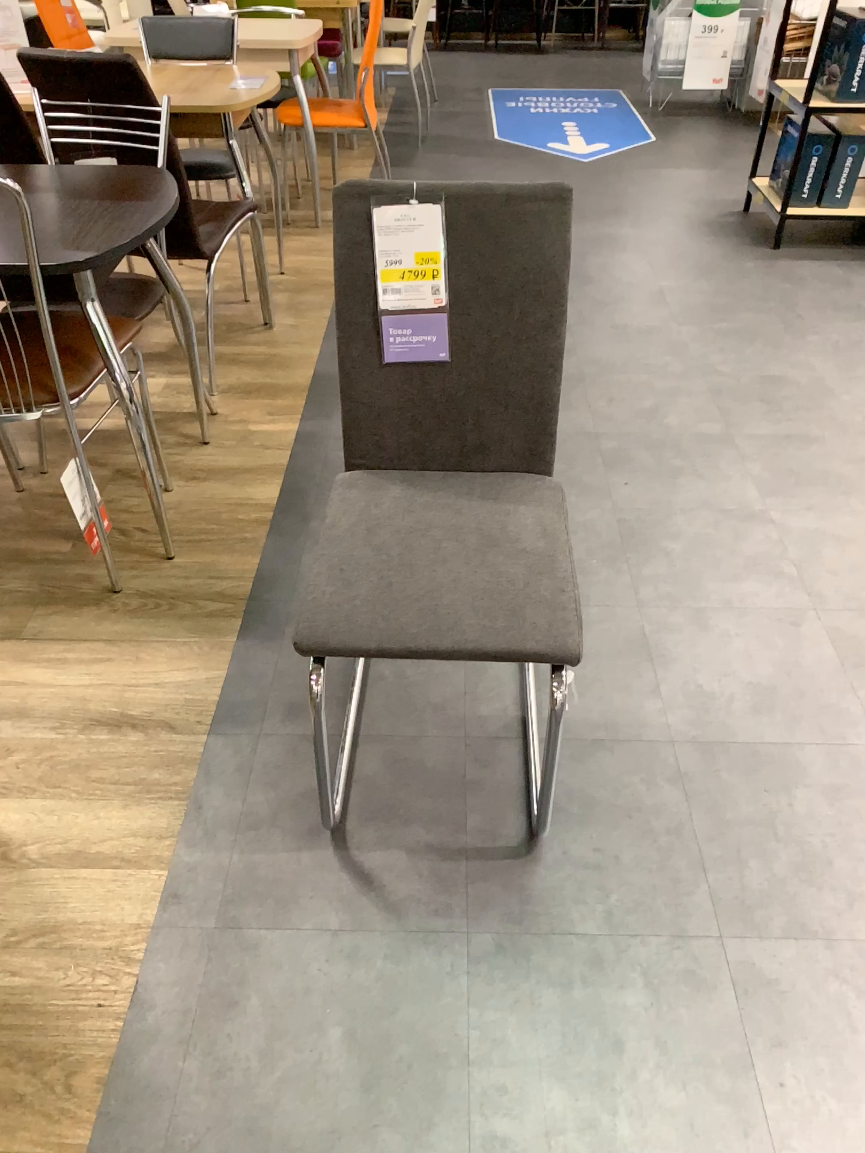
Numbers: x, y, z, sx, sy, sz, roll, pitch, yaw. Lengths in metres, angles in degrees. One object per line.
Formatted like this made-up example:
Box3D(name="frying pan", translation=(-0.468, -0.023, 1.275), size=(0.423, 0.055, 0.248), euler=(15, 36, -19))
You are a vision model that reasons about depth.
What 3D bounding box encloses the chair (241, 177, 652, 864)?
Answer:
Box3D(name="chair", translation=(0.020, -0.060, 1.449), size=(0.435, 0.974, 0.542), euler=(2, 38, 1))
